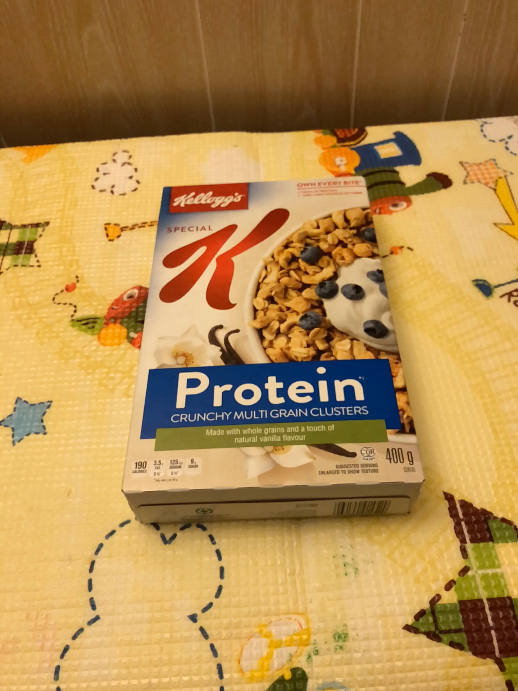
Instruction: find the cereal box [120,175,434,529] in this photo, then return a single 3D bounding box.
[{"bbox_3d":[0.009,-0.011,0.390,0.160,0.060,0.251,0,55,0],"label":"cereal box"}]
